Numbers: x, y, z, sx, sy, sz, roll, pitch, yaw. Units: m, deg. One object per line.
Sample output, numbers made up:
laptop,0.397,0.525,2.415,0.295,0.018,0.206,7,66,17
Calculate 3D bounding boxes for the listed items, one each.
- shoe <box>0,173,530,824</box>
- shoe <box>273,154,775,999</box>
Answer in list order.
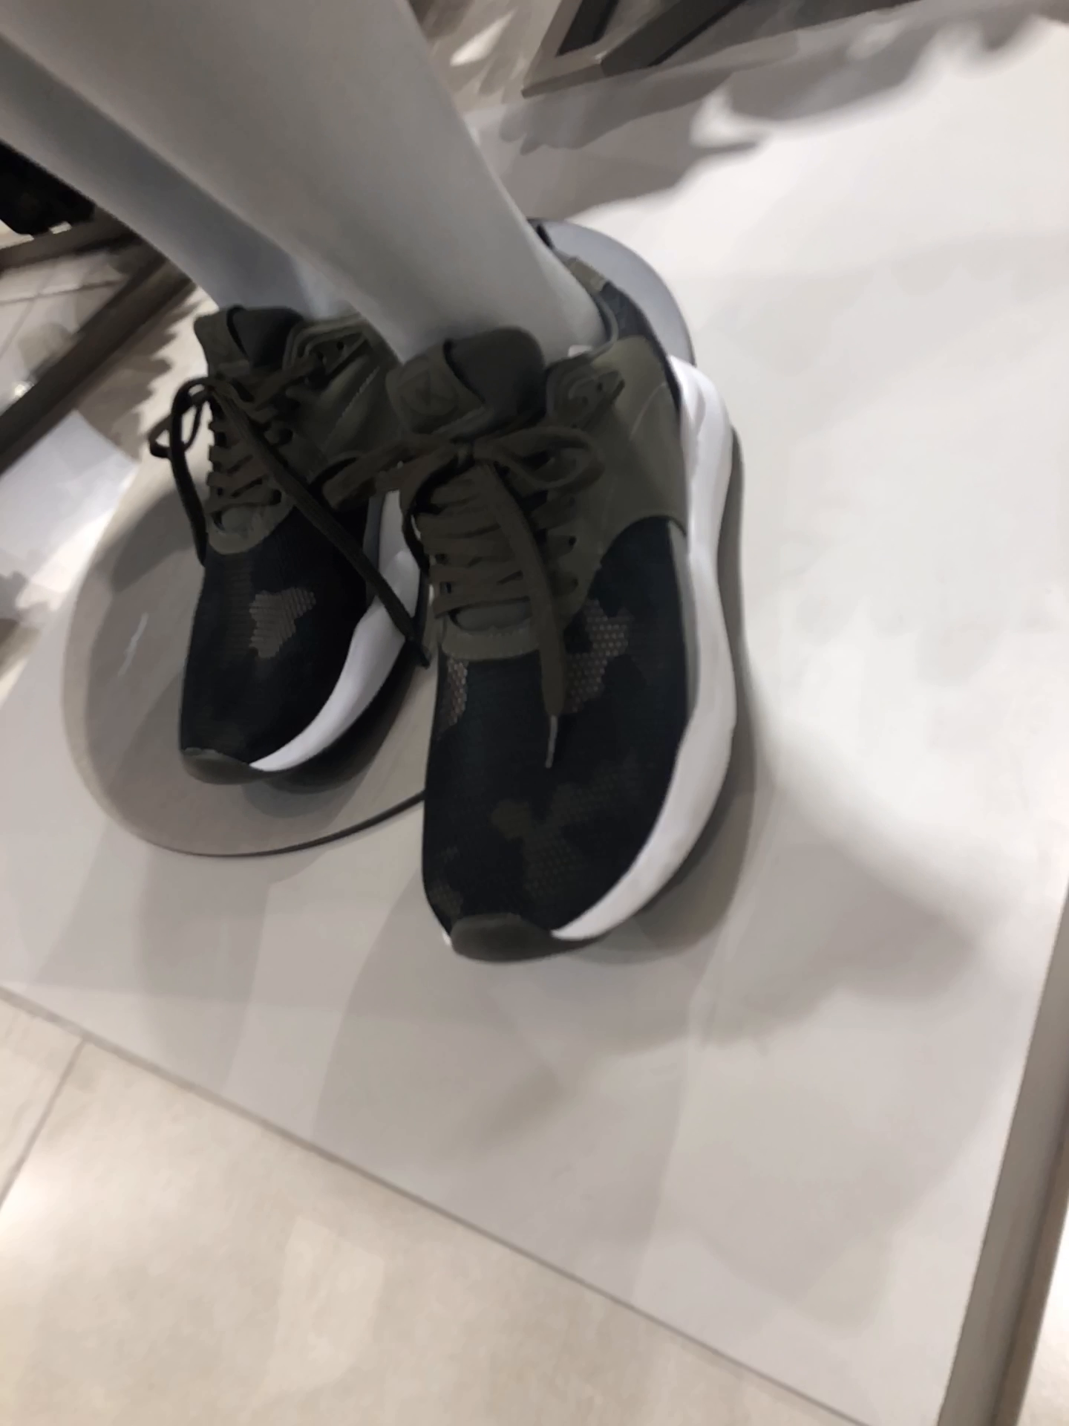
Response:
shoe,-0.109,-0.096,0.539,0.100,0.119,0.261,1,62,34
shoe,0.014,-0.051,0.431,0.110,0.109,0.281,-9,57,29
